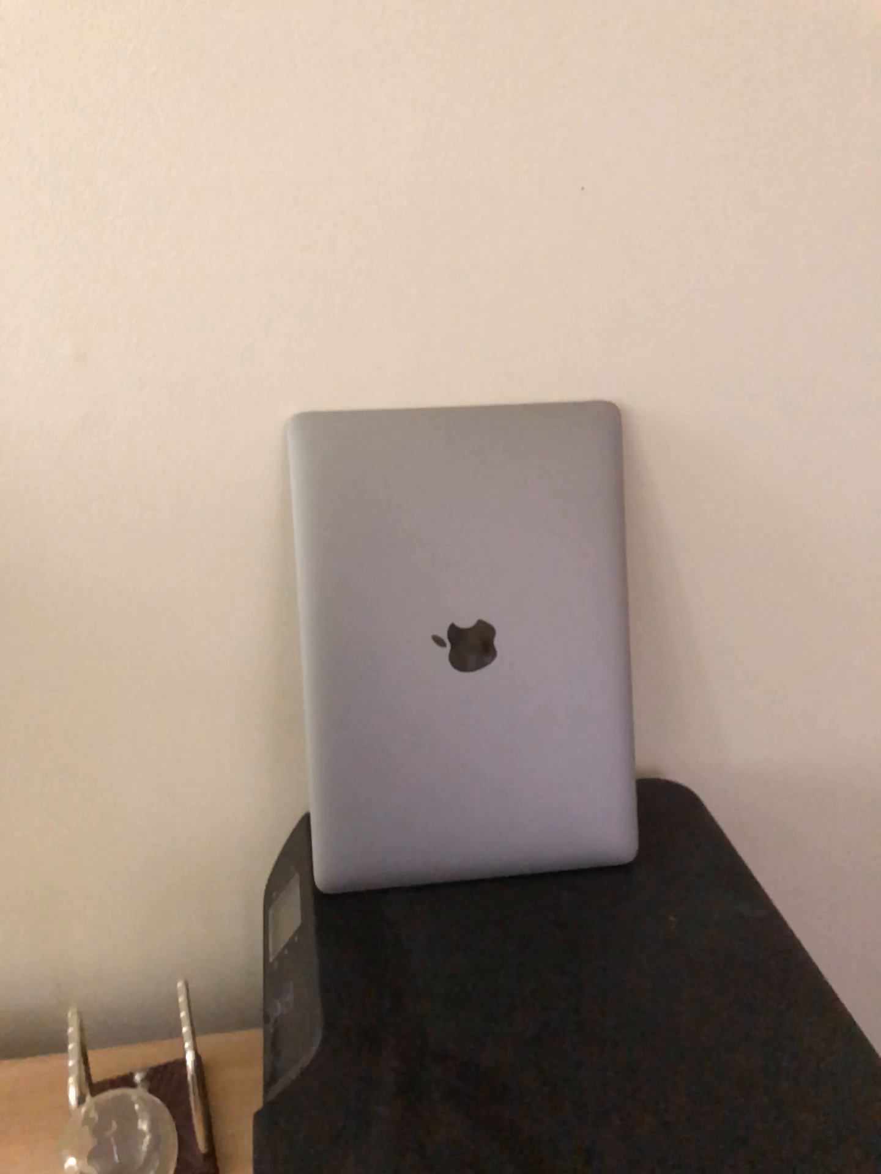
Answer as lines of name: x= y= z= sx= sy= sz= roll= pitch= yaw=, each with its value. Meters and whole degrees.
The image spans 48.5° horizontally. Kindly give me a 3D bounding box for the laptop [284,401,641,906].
laptop: x=0.016 y=0.037 z=0.567 sx=0.196 sy=0.275 sz=0.002 roll=-4 pitch=2 yaw=-8
